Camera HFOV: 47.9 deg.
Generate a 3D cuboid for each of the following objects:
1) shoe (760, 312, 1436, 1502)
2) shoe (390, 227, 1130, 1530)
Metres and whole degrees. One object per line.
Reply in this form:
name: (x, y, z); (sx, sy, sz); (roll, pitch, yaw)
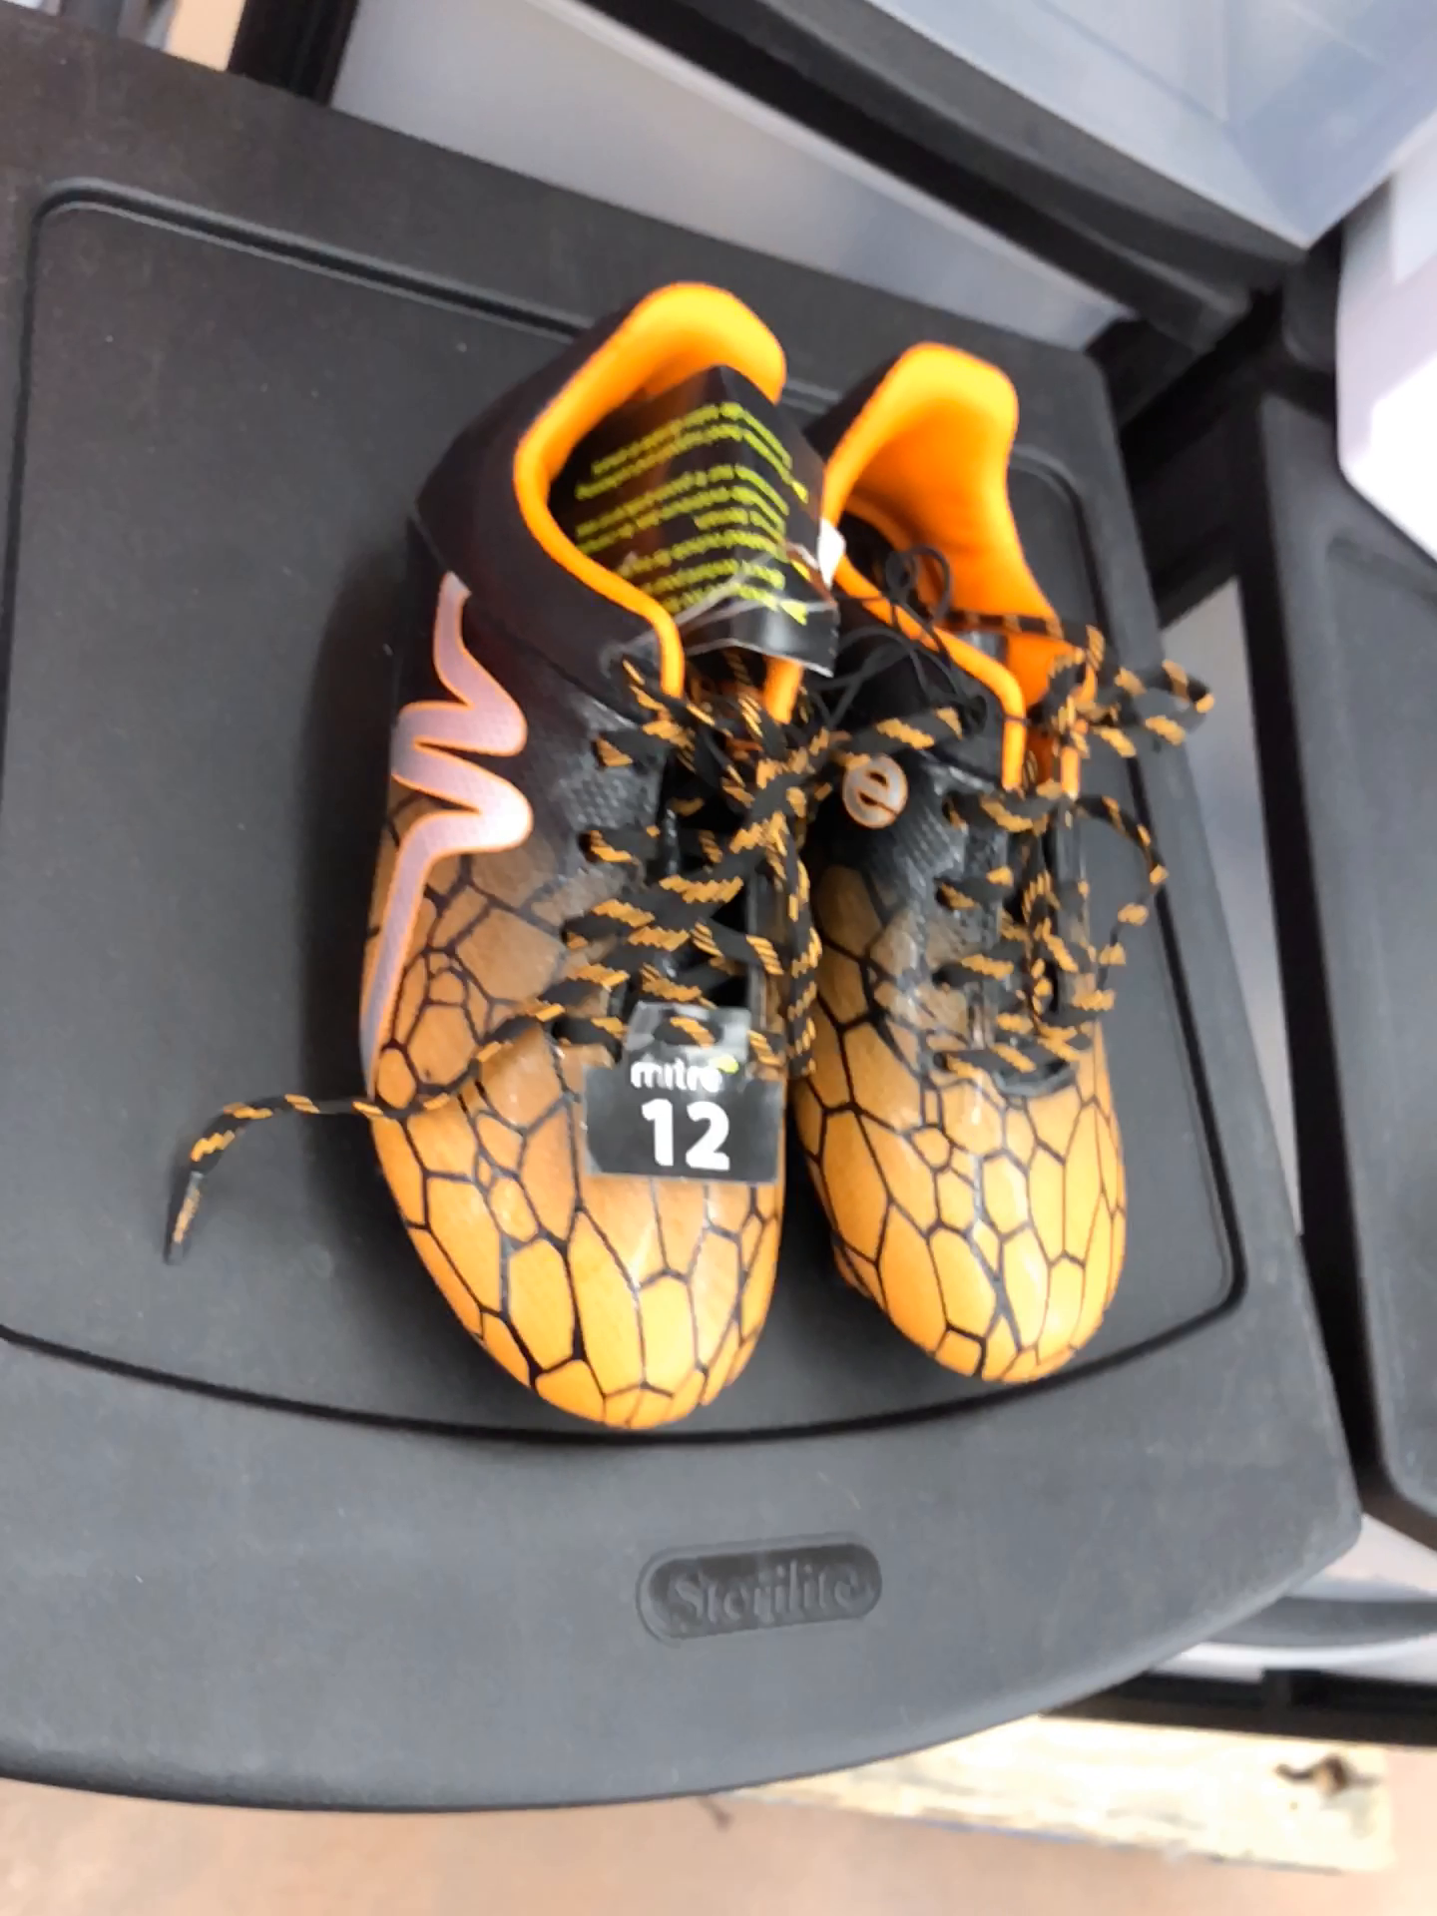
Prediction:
shoe: (0.073, -0.008, 0.306); (0.080, 0.070, 0.200); (3, 69, -28)
shoe: (-0.003, -0.011, 0.285); (0.080, 0.080, 0.200); (4, 68, -28)
